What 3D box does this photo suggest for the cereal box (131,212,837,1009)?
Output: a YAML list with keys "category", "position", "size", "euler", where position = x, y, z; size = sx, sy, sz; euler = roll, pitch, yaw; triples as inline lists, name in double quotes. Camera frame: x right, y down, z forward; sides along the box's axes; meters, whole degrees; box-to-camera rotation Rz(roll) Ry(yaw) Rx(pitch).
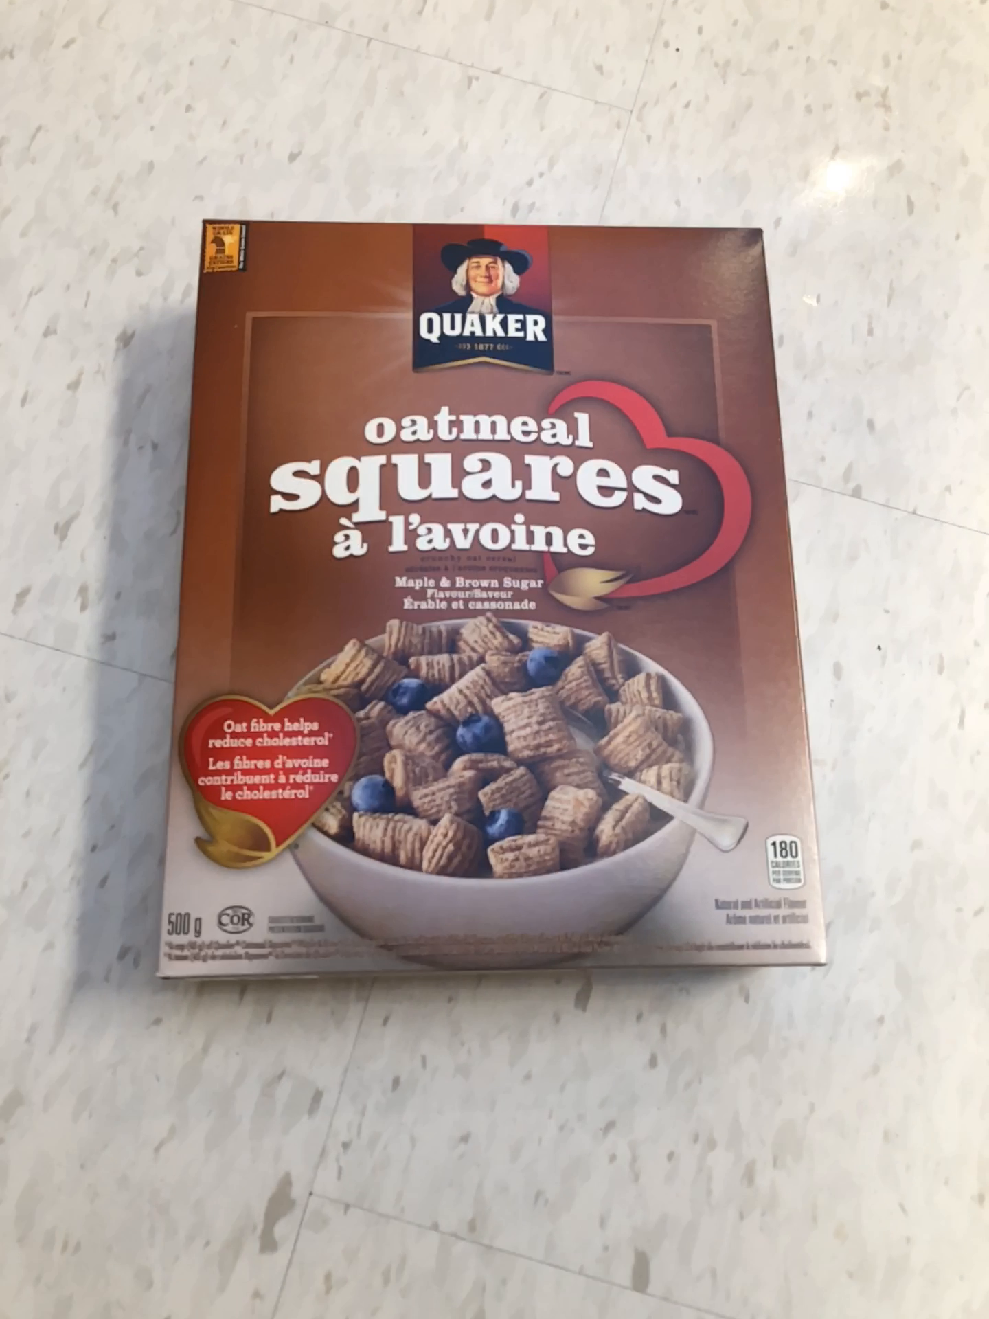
- category: "cereal box"
  position: [-0.006, -0.020, 0.390]
  size: [0.210, 0.070, 0.270]
  euler: [0, 75, -3]
